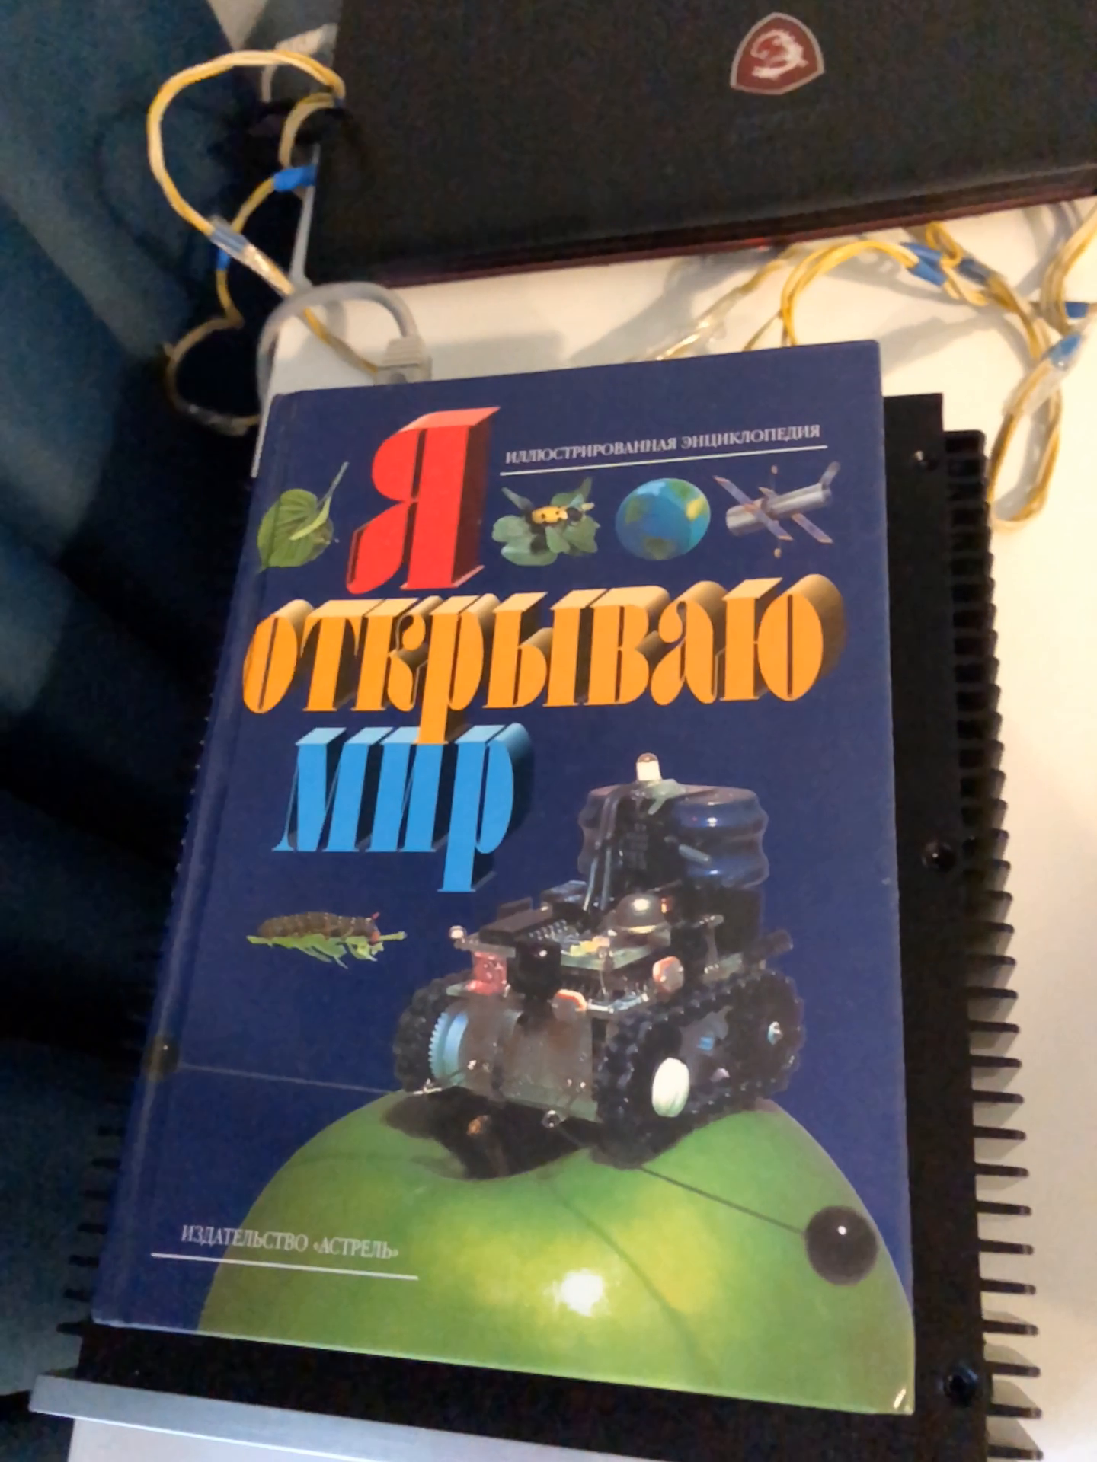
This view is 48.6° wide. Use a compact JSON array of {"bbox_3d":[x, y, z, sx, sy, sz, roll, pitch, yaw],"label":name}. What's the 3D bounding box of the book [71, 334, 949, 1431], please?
[{"bbox_3d":[-0.001,0.019,0.310,0.186,0.030,0.256,-1,66,14],"label":"book"}]
